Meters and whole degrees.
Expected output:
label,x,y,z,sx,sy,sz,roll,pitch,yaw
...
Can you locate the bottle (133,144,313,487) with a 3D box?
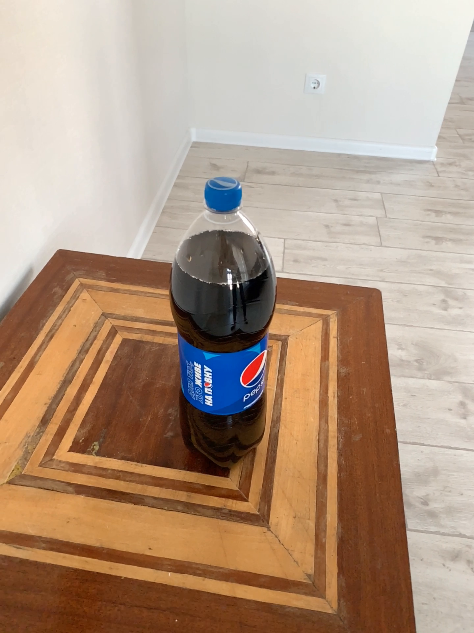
label,x,y,z,sx,sy,sz,roll,pitch,yaw
bottle,-0.015,0.020,0.490,0.100,0.338,0.100,1,42,-1
